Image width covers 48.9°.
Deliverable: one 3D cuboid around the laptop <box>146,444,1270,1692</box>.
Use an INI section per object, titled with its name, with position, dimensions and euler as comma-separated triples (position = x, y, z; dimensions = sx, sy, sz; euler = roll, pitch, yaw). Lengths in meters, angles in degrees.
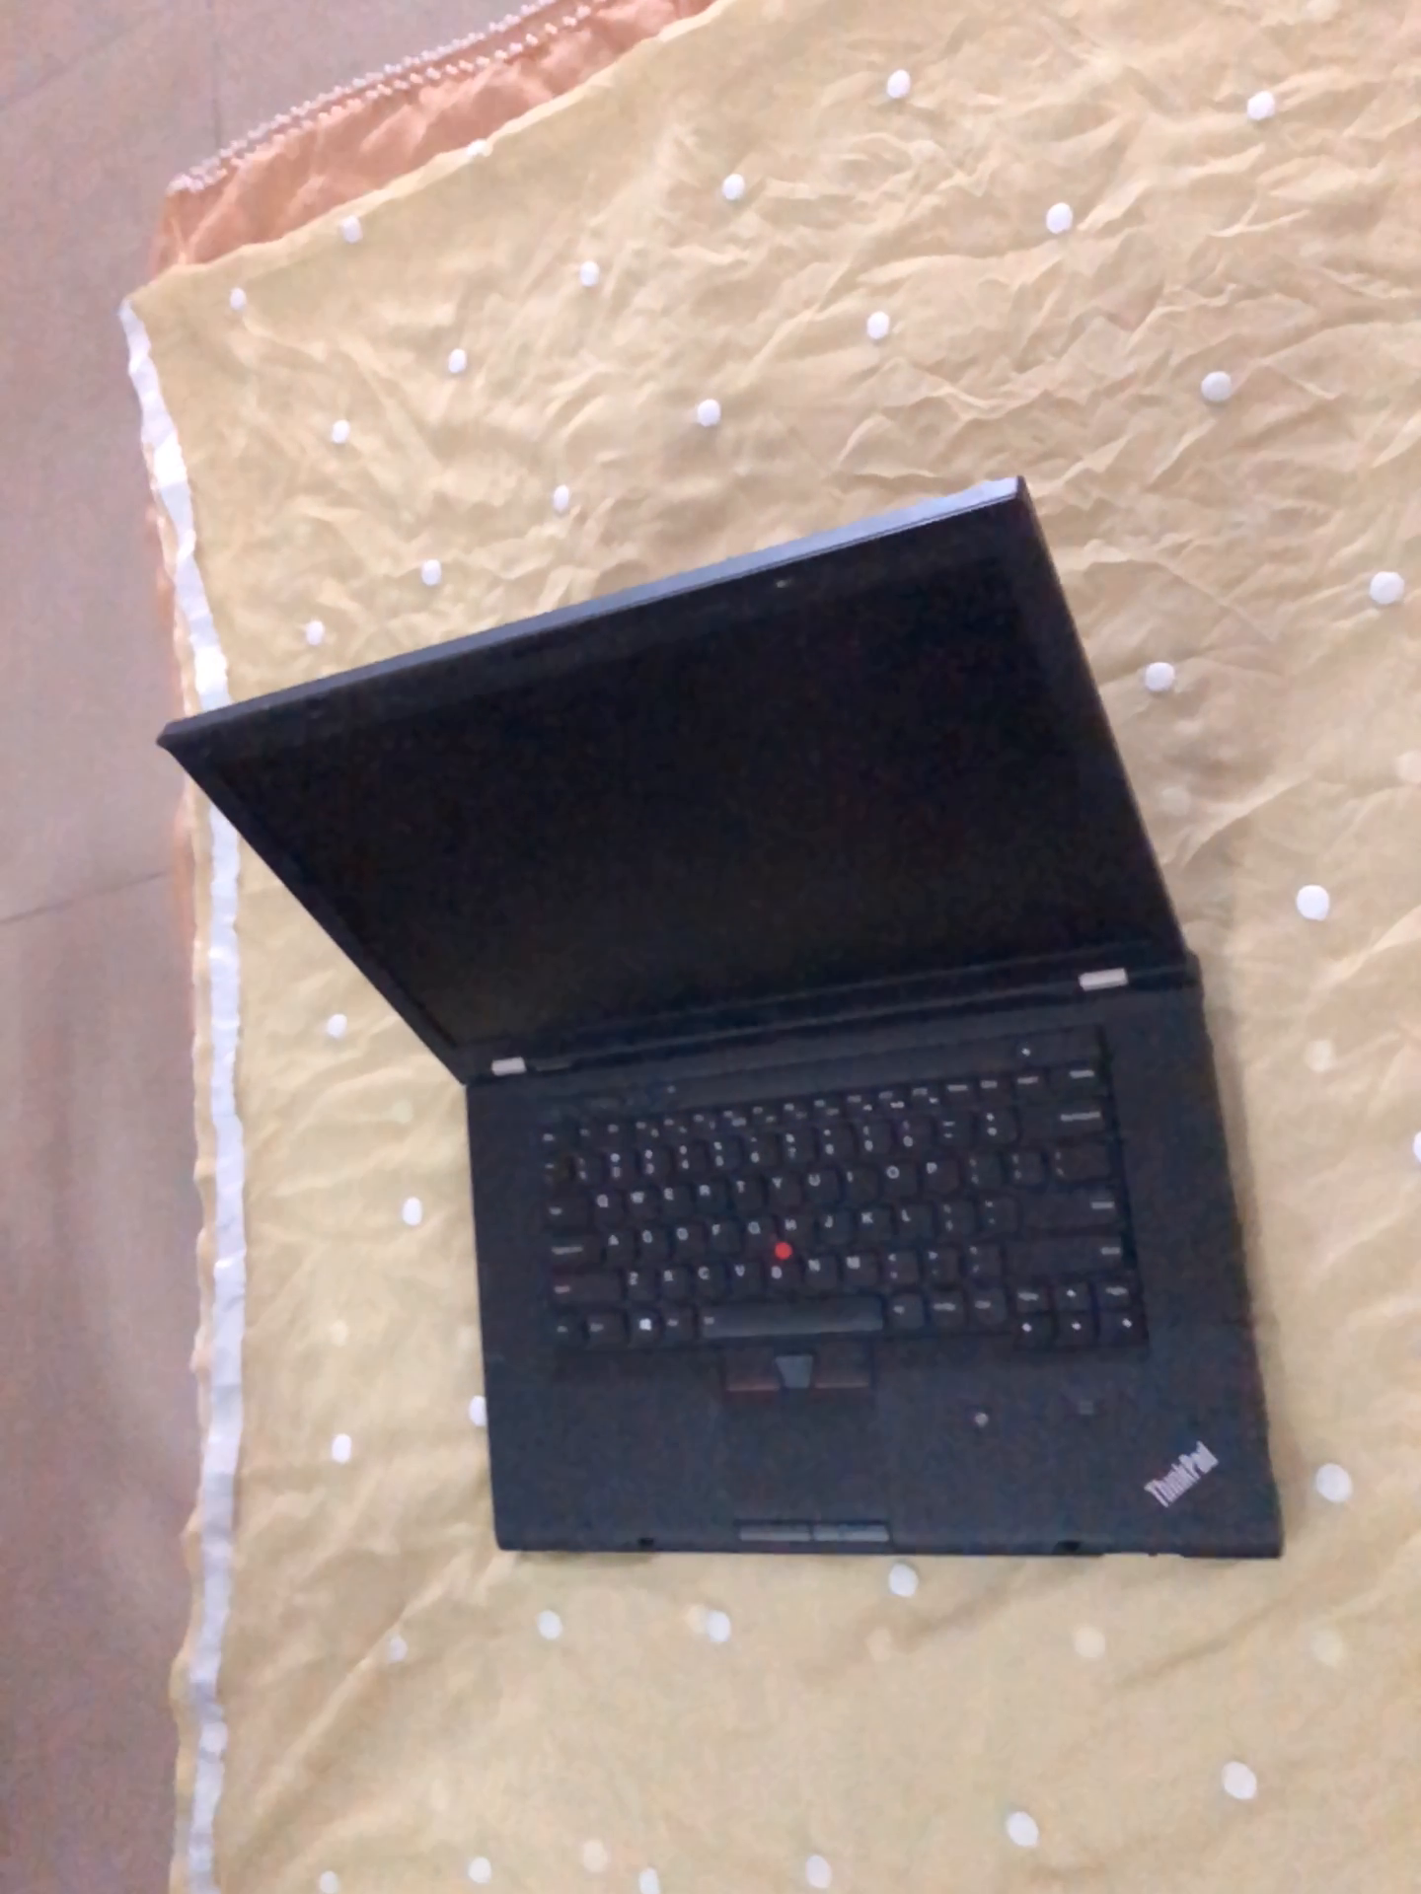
[laptop]
position = -0.007, 0.067, 0.637
dimensions = 0.364, 0.192, 0.380
euler = -10, 82, 26
